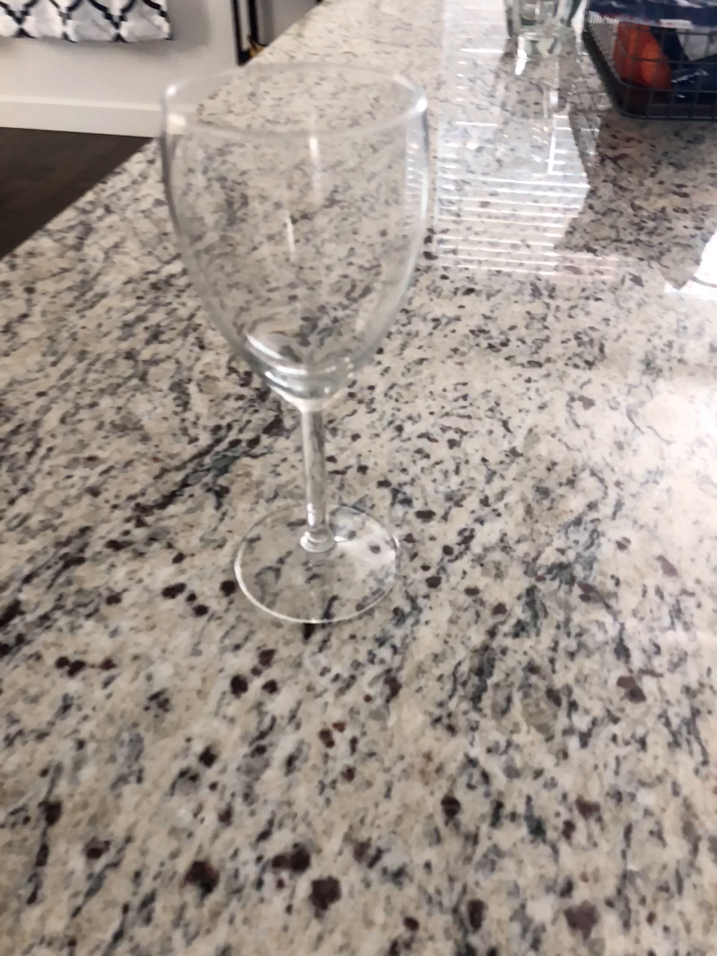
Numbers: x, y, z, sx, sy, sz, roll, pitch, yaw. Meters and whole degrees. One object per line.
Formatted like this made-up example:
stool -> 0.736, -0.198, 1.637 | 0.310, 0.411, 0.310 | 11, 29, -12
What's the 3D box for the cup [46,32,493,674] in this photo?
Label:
cup -> -0.022, -0.036, 0.254 | 0.080, 0.169, 0.080 | 0, 39, 0
